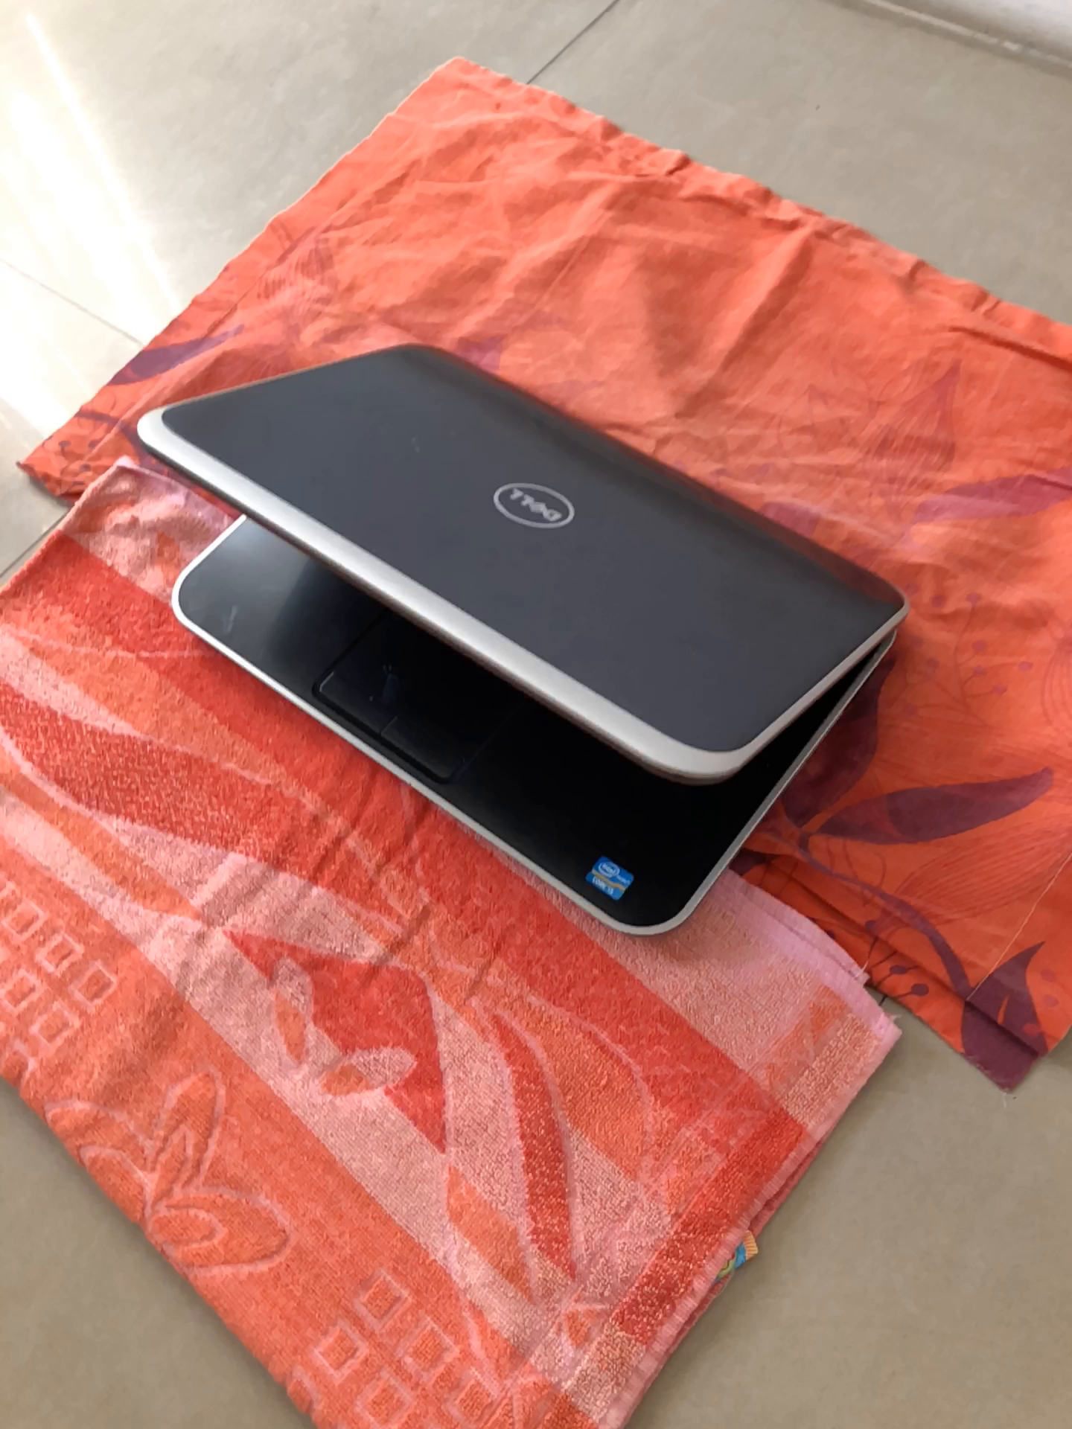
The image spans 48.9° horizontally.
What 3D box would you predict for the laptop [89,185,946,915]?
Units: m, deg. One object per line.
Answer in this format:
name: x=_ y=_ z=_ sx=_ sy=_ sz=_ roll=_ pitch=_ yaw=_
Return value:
laptop: x=-0.007 y=-0.102 z=0.633 sx=0.345 sy=0.129 sz=0.242 roll=32 pitch=69 yaw=20
